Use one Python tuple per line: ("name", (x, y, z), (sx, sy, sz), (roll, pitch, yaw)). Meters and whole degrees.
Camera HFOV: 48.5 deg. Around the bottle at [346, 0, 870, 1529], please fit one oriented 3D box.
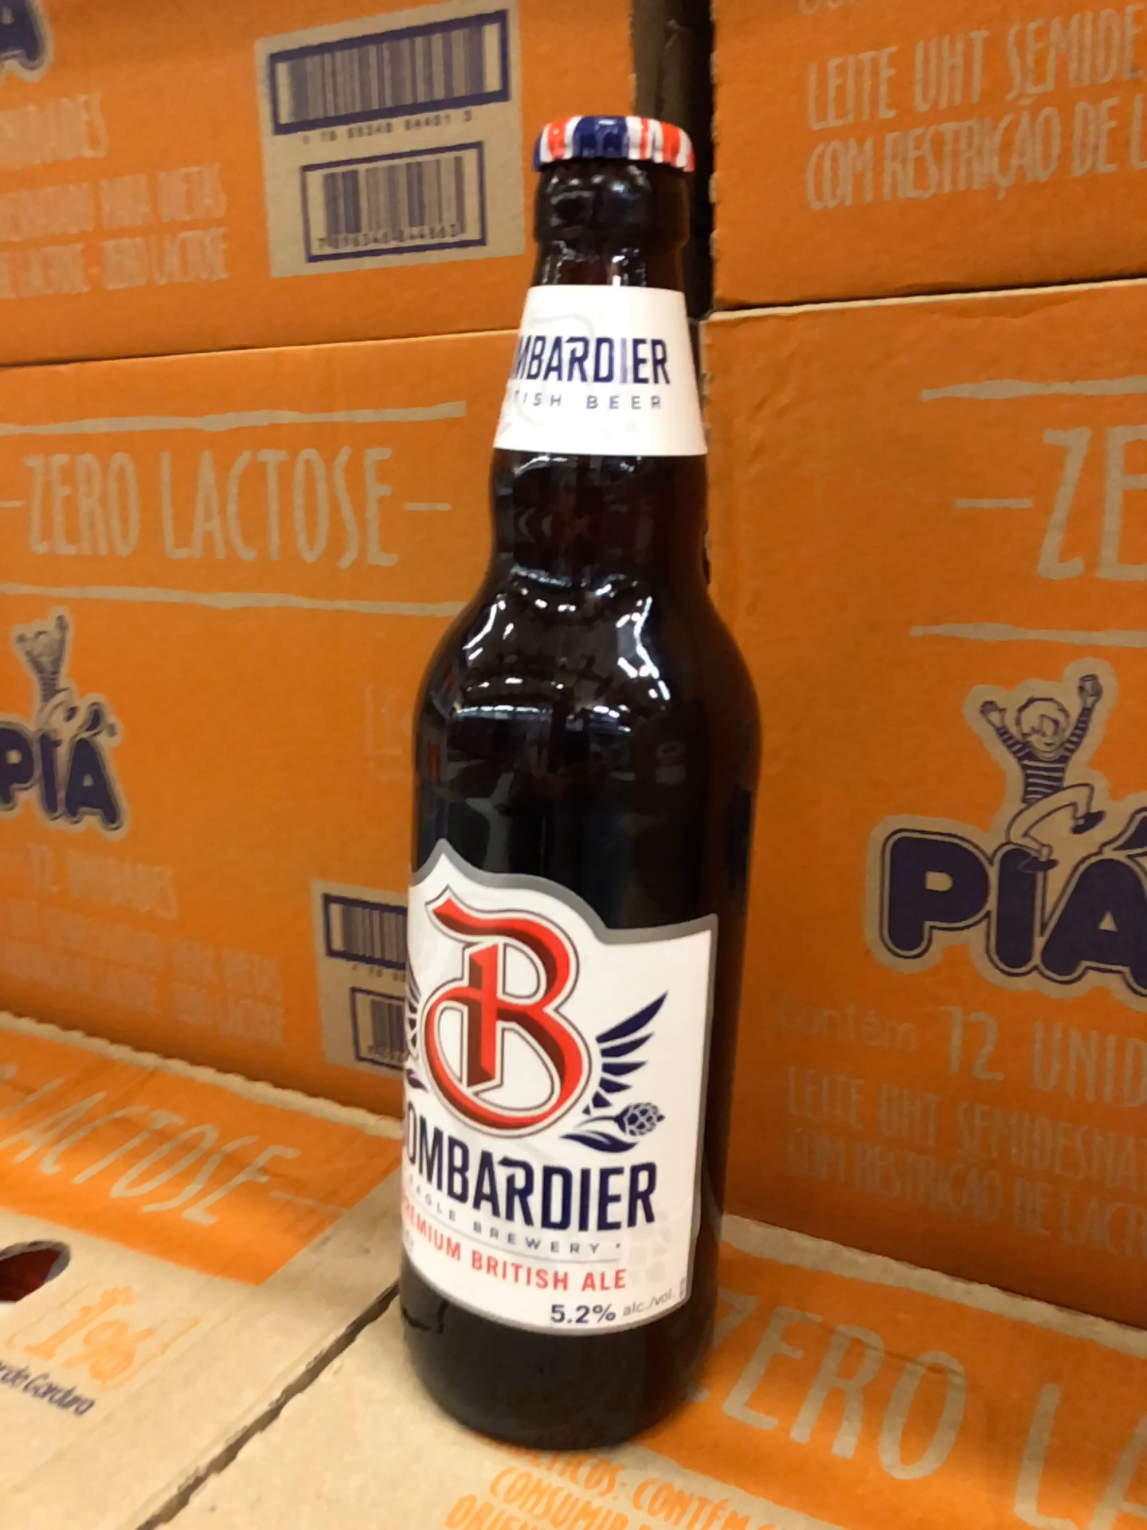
("bottle", (0.005, 0.003, 0.246), (0.070, 0.259, 0.060), (8, 14, 29))
